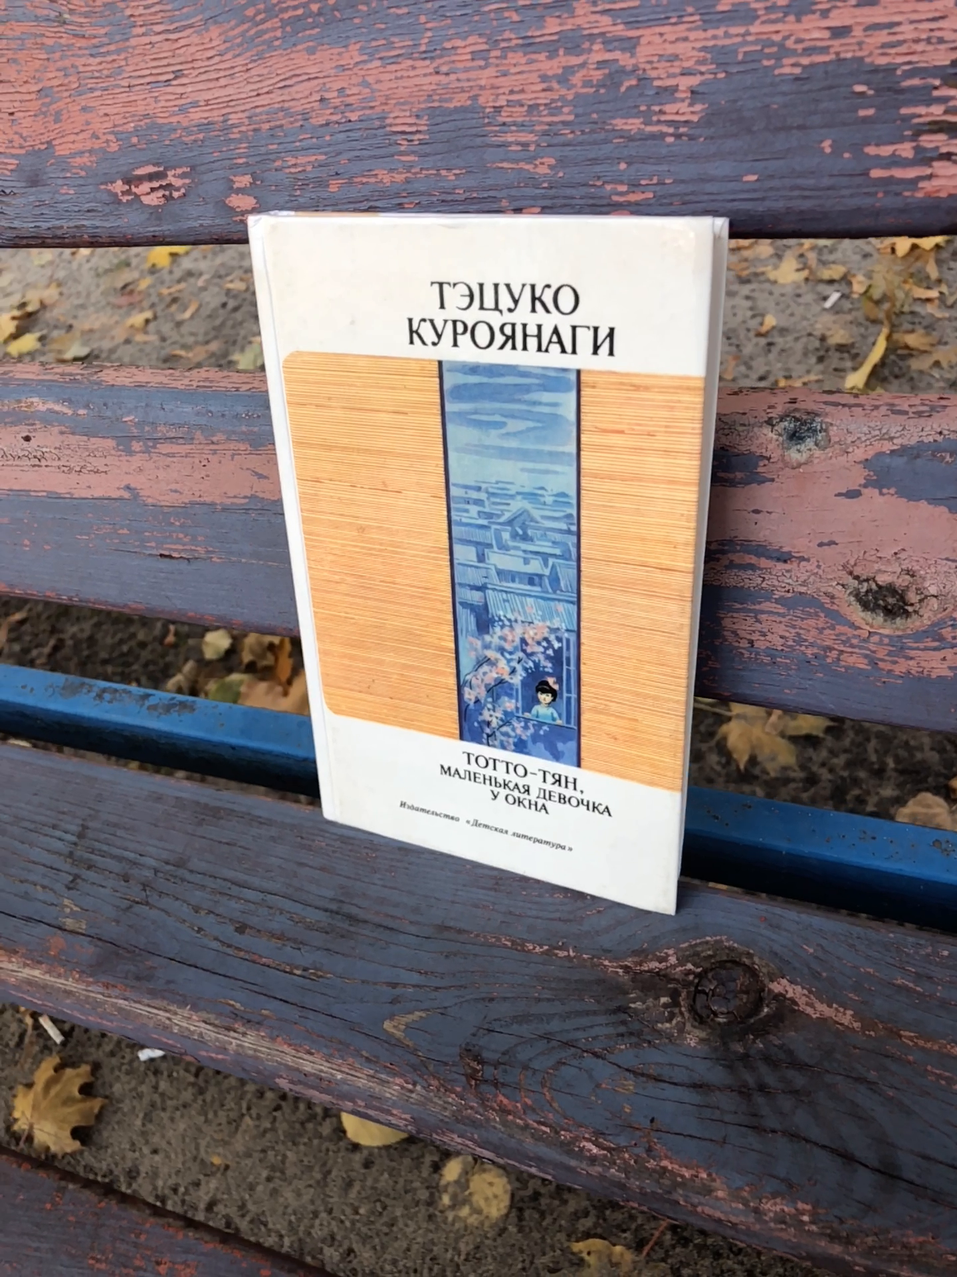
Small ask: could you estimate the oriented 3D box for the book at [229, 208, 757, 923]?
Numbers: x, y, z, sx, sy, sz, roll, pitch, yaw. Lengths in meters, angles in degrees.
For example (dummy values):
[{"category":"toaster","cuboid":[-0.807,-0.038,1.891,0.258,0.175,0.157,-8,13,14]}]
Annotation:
[{"category":"book","cuboid":[0.001,-0.016,0.306,0.134,0.198,0.016,10,29,20]}]
